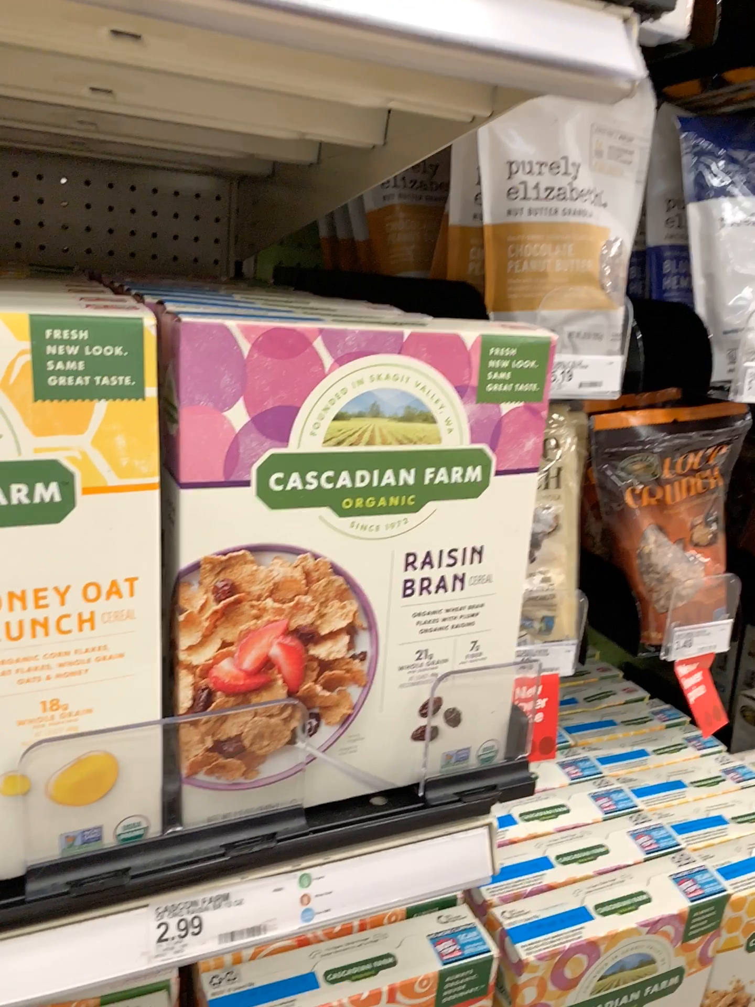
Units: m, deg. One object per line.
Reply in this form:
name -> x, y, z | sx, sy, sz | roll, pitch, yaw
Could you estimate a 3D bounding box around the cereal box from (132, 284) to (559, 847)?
cereal box -> -0.022, 0.032, 0.413 | 0.200, 0.269, 0.050 | -3, 19, -25
